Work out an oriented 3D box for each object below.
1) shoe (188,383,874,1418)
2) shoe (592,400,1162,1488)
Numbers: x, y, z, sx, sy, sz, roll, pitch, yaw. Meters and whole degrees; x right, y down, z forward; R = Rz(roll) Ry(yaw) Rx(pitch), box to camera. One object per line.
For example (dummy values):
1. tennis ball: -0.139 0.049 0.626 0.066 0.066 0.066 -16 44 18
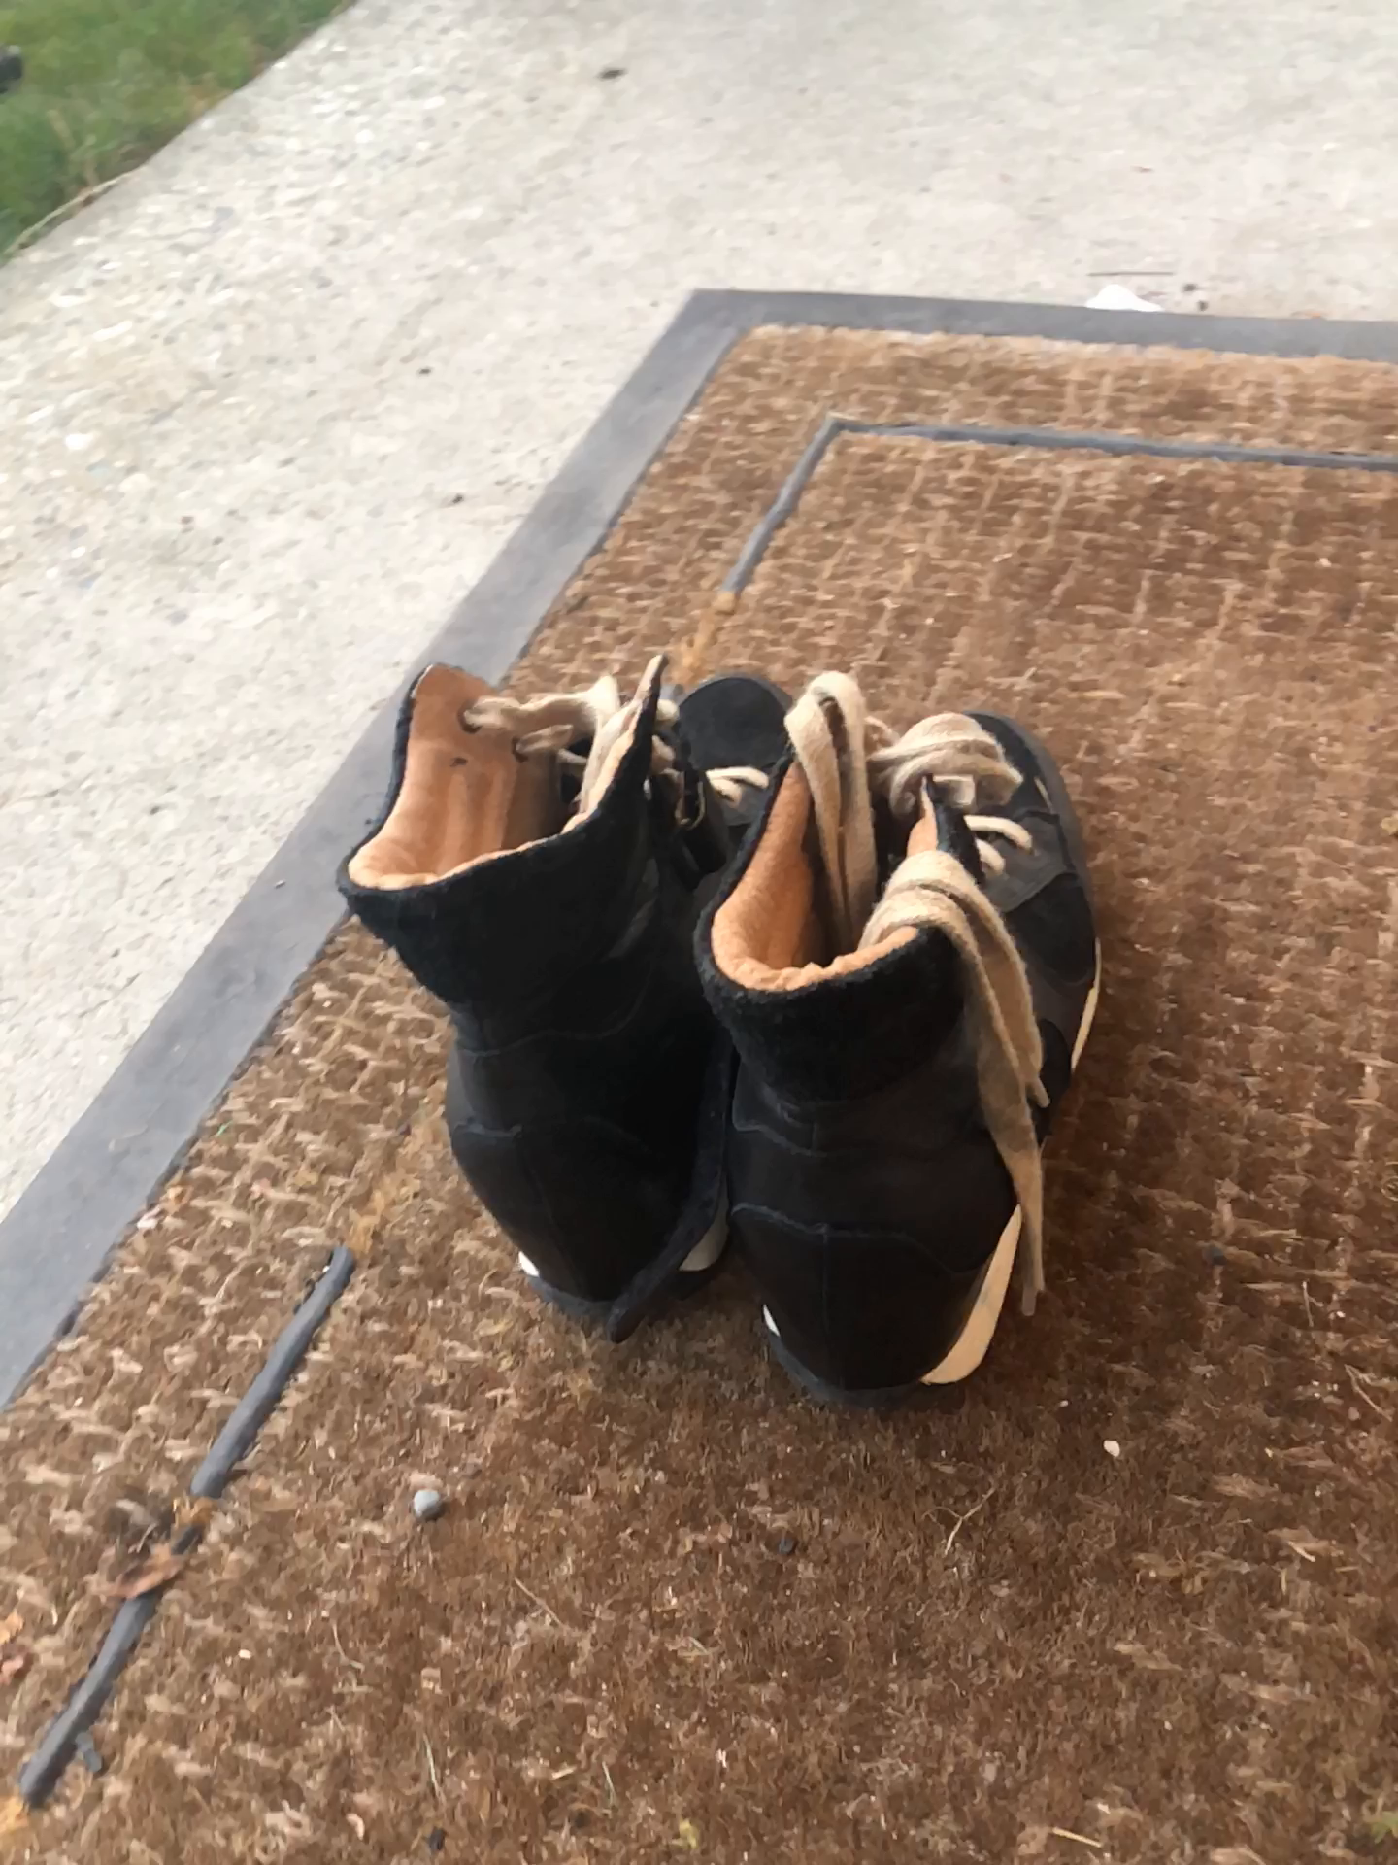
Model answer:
1. shoe: -0.020 -0.018 0.435 0.090 0.159 0.241 5 50 15
2. shoe: 0.063 -0.006 0.405 0.090 0.159 0.231 5 50 15
